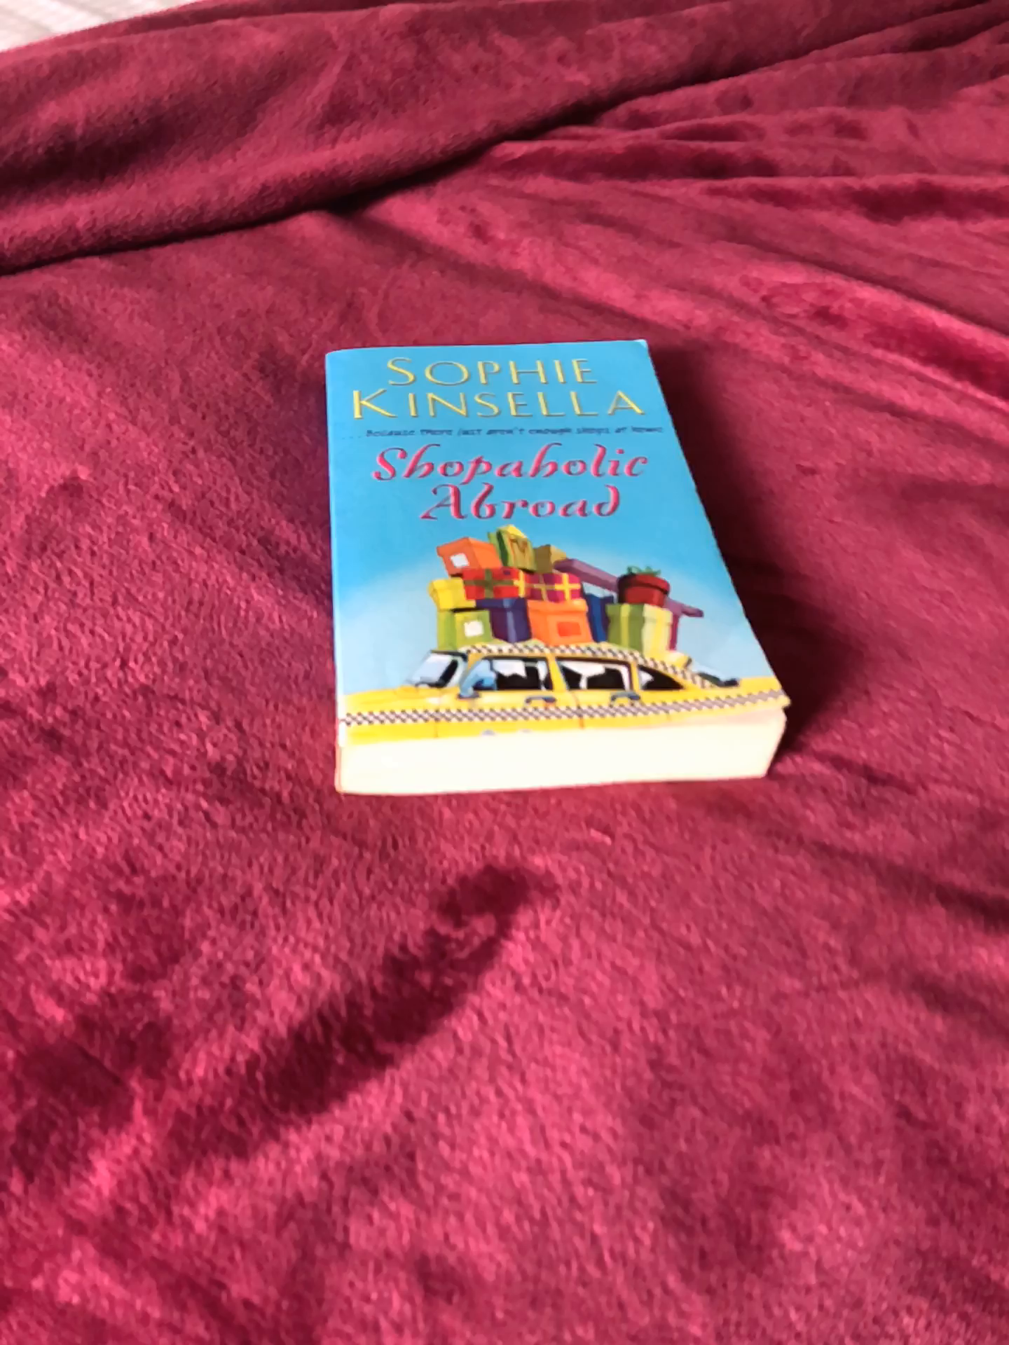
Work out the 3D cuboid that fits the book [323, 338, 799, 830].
[{"bbox_3d":[0.005,-0.044,0.381,0.129,0.035,0.201,-3,48,-7],"label":"book"}]
